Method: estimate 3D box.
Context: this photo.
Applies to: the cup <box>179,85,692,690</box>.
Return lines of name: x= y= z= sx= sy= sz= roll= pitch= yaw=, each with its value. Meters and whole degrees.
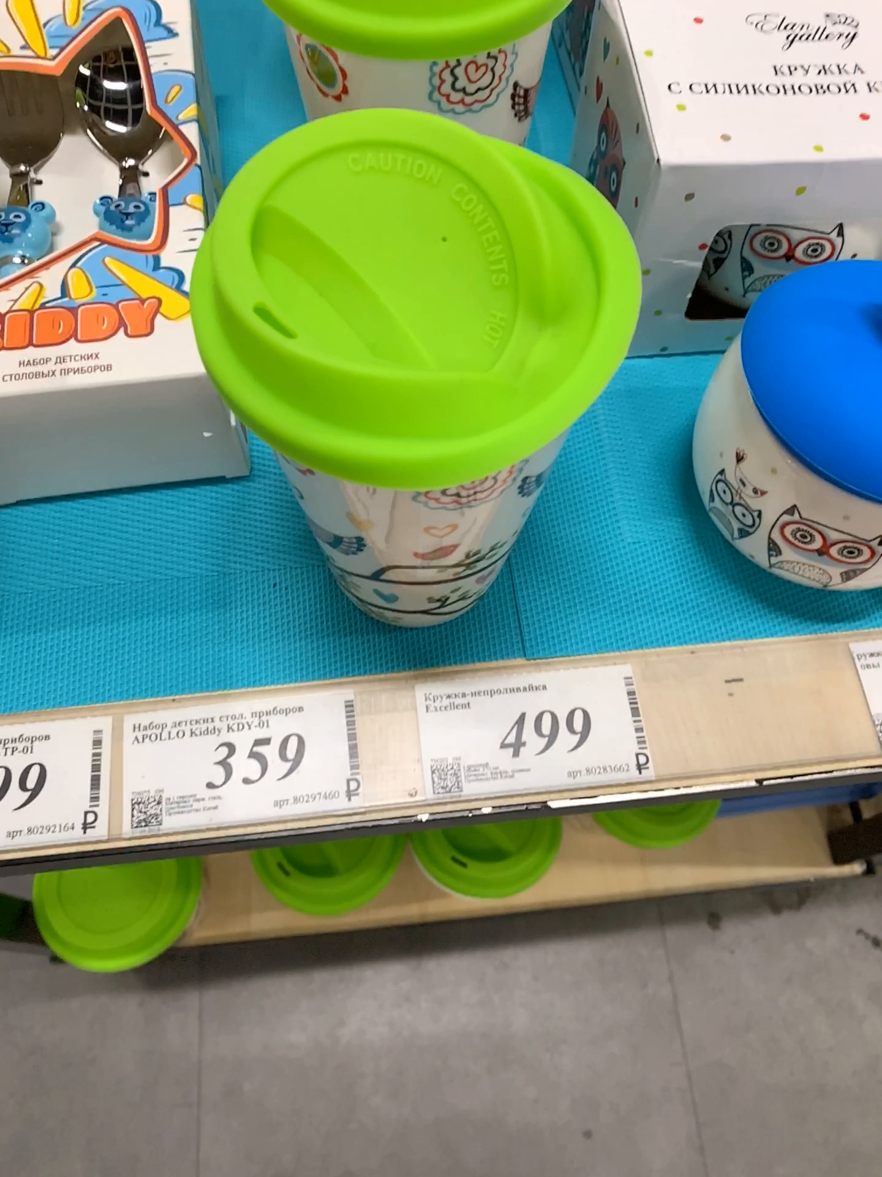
cup: x=-0.007 y=-0.041 z=0.245 sx=0.090 sy=0.136 sz=0.084 roll=1 pitch=66 yaw=-2
